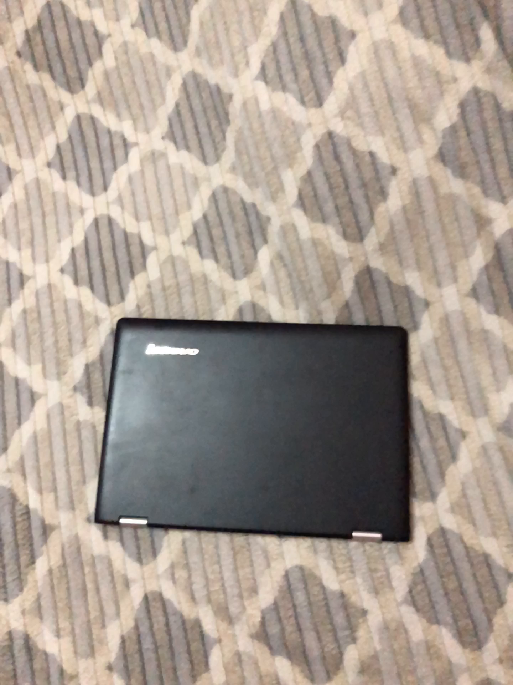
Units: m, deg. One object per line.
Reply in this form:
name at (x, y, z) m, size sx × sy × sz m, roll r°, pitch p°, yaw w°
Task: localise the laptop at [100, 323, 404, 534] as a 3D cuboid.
laptop at (-0.001, 0.094, 0.659) m, size 0.339 × 0.005 × 0.230 m, roll 2°, pitch 78°, yaw 3°
